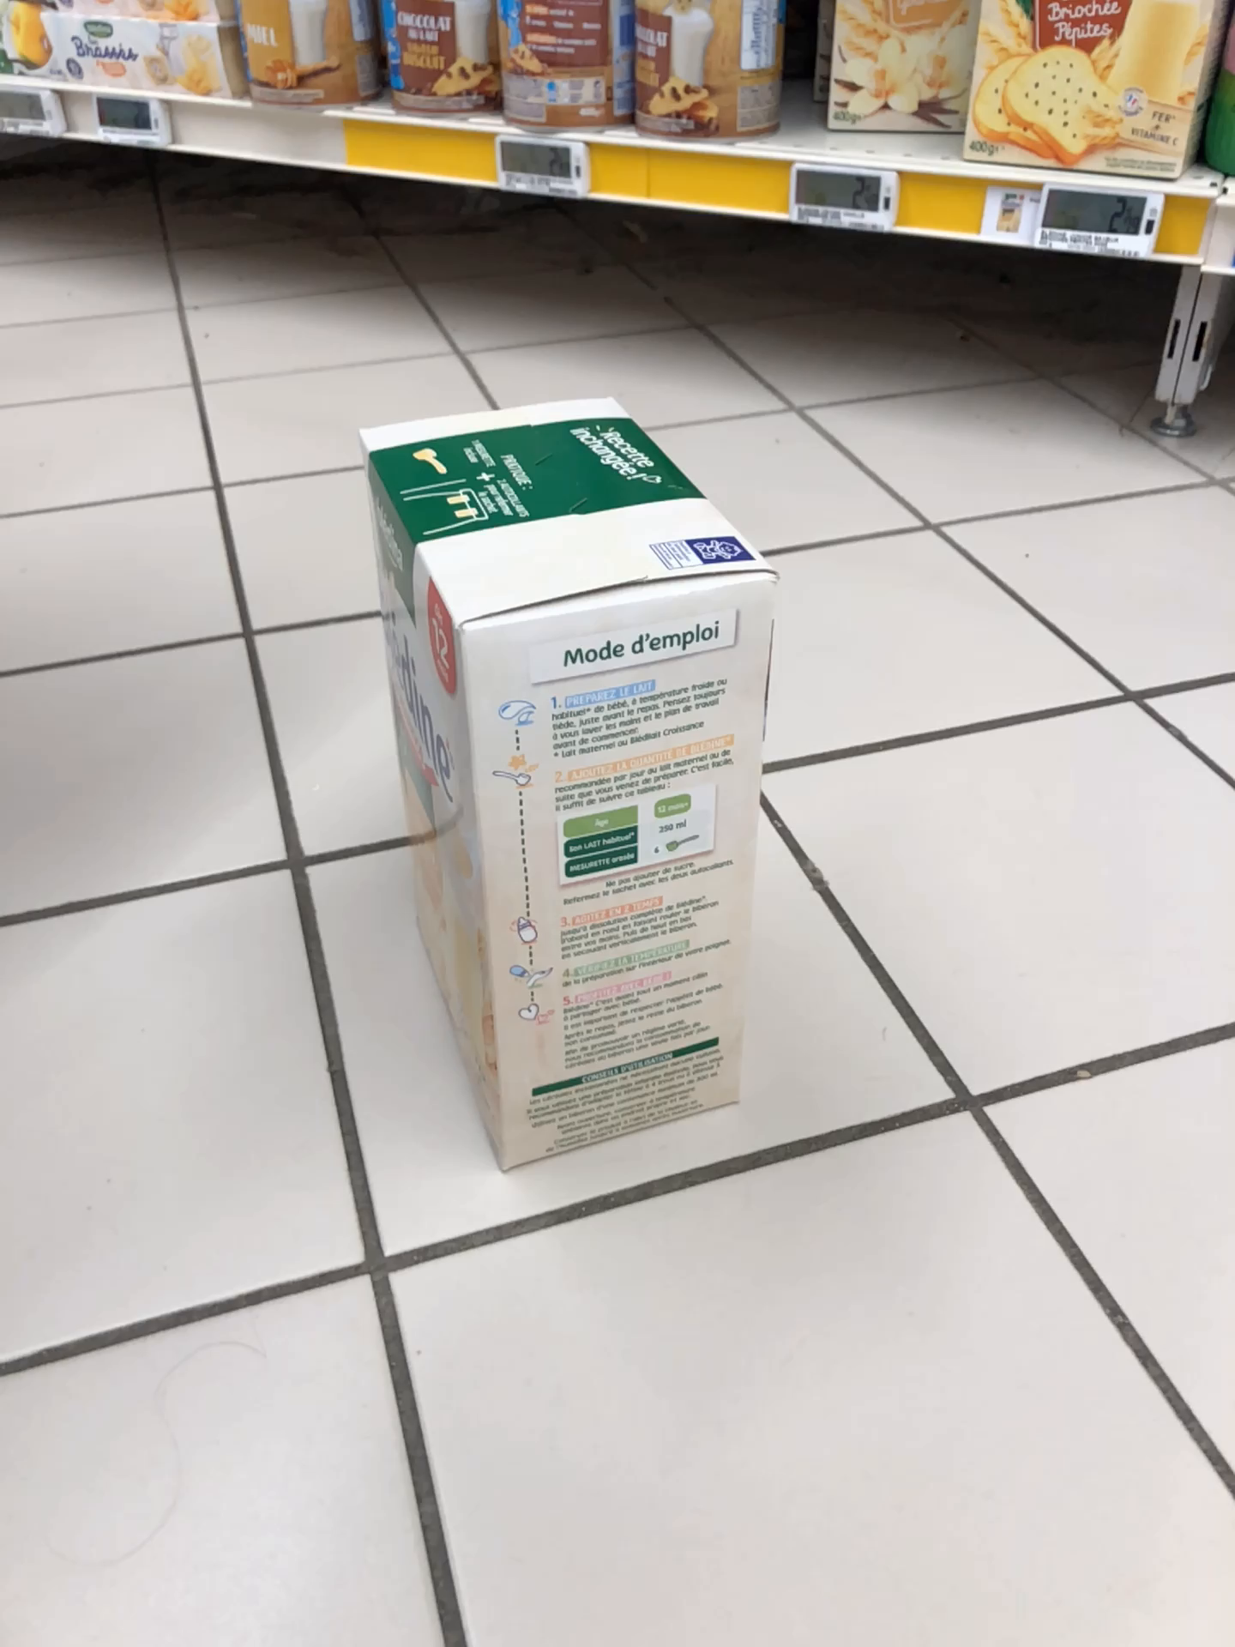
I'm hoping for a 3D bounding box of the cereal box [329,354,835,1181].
[{"bbox_3d":[-0.017,-0.020,0.424,0.100,0.199,0.141,-11,37,-15],"label":"cereal box"}]
